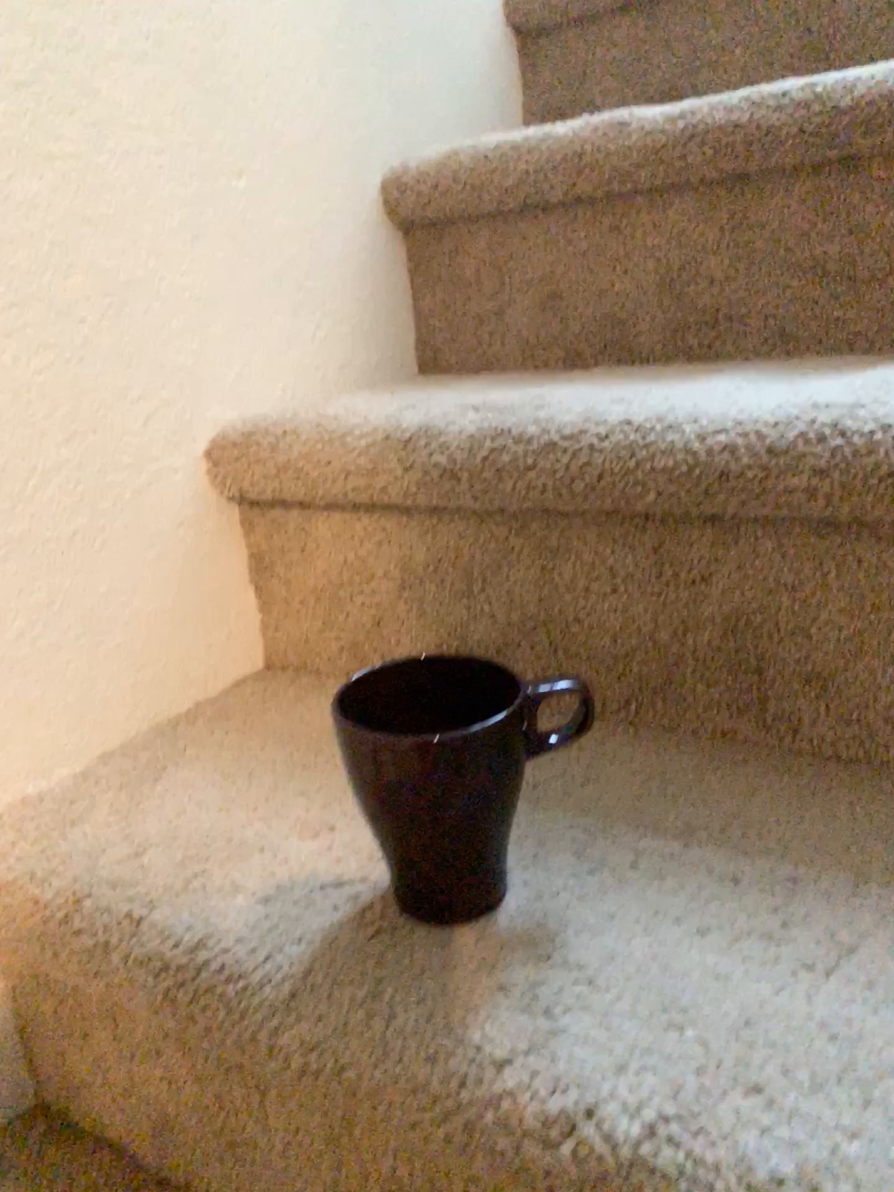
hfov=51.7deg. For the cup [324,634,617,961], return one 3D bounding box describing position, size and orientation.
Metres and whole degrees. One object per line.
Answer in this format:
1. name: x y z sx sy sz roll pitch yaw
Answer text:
1. cup: 0.007 0.084 0.409 0.110 0.099 0.080 -7 16 -6
